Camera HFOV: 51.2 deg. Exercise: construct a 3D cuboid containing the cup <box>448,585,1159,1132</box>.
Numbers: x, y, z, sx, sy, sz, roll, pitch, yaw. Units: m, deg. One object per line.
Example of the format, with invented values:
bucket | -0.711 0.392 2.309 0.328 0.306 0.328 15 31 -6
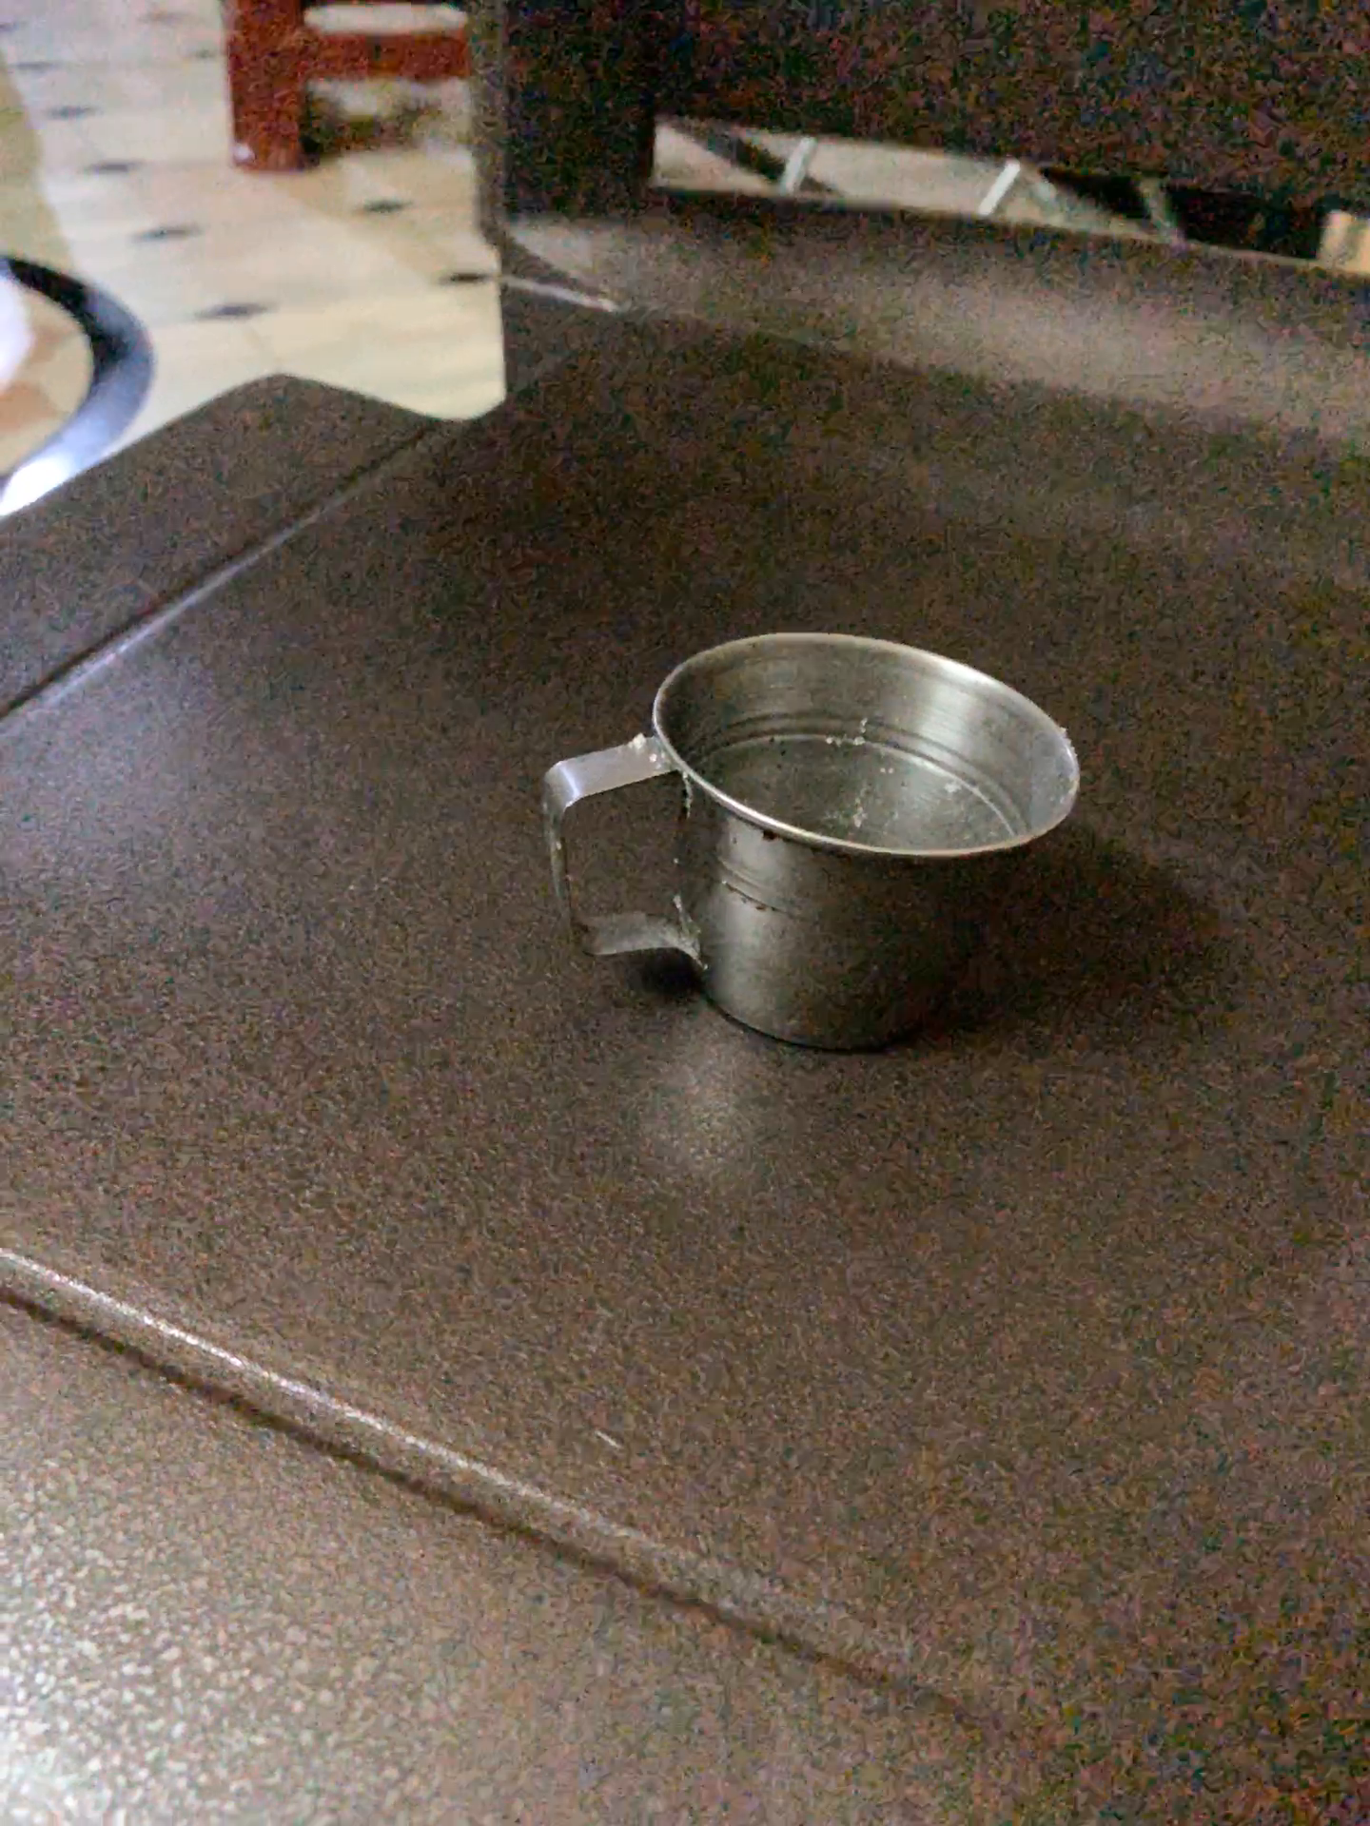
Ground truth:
cup | 0.012 -0.012 0.205 0.080 0.040 0.060 -8 44 -17
